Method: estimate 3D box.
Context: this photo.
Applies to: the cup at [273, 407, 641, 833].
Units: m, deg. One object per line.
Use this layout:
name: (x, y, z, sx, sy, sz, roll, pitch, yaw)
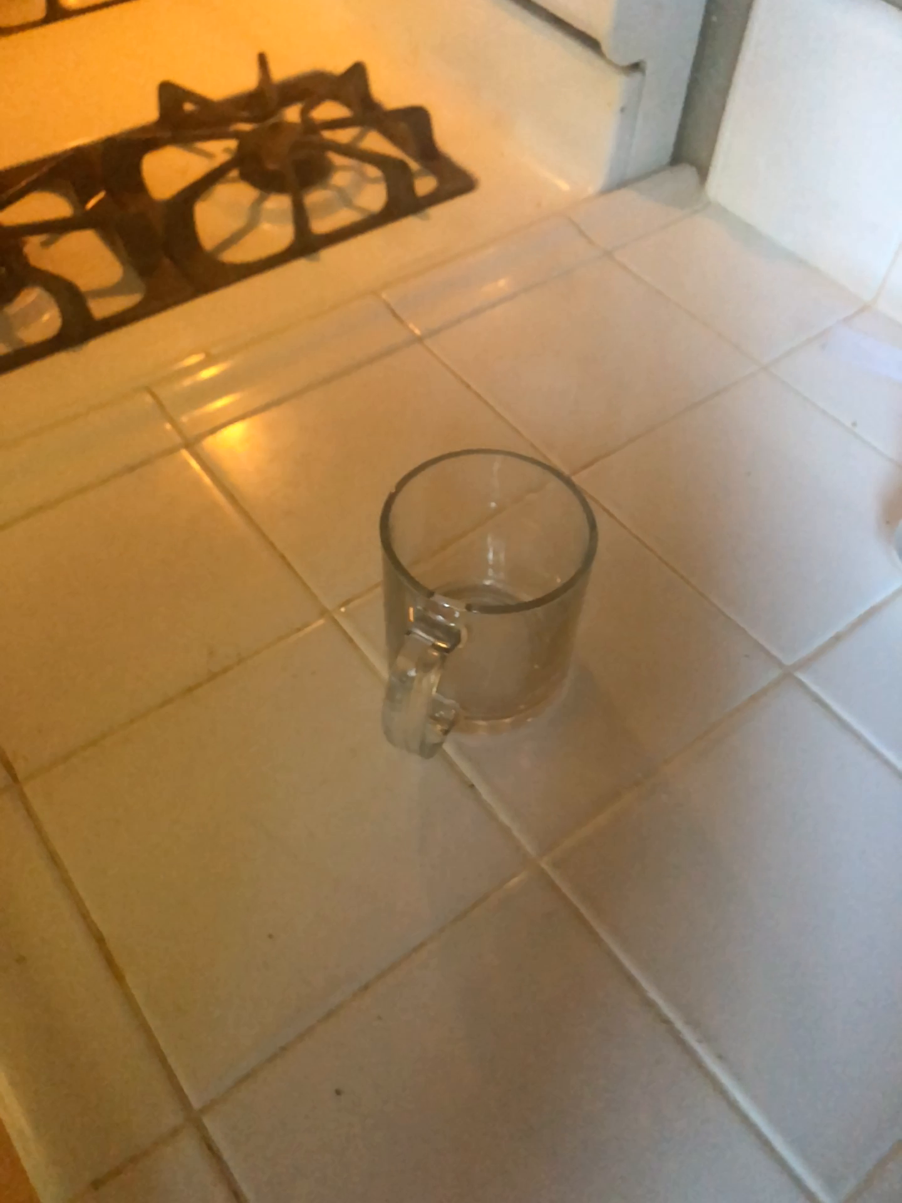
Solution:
cup: (0.006, 0.004, 0.412, 0.100, 0.079, 0.131, 18, 55, 11)
